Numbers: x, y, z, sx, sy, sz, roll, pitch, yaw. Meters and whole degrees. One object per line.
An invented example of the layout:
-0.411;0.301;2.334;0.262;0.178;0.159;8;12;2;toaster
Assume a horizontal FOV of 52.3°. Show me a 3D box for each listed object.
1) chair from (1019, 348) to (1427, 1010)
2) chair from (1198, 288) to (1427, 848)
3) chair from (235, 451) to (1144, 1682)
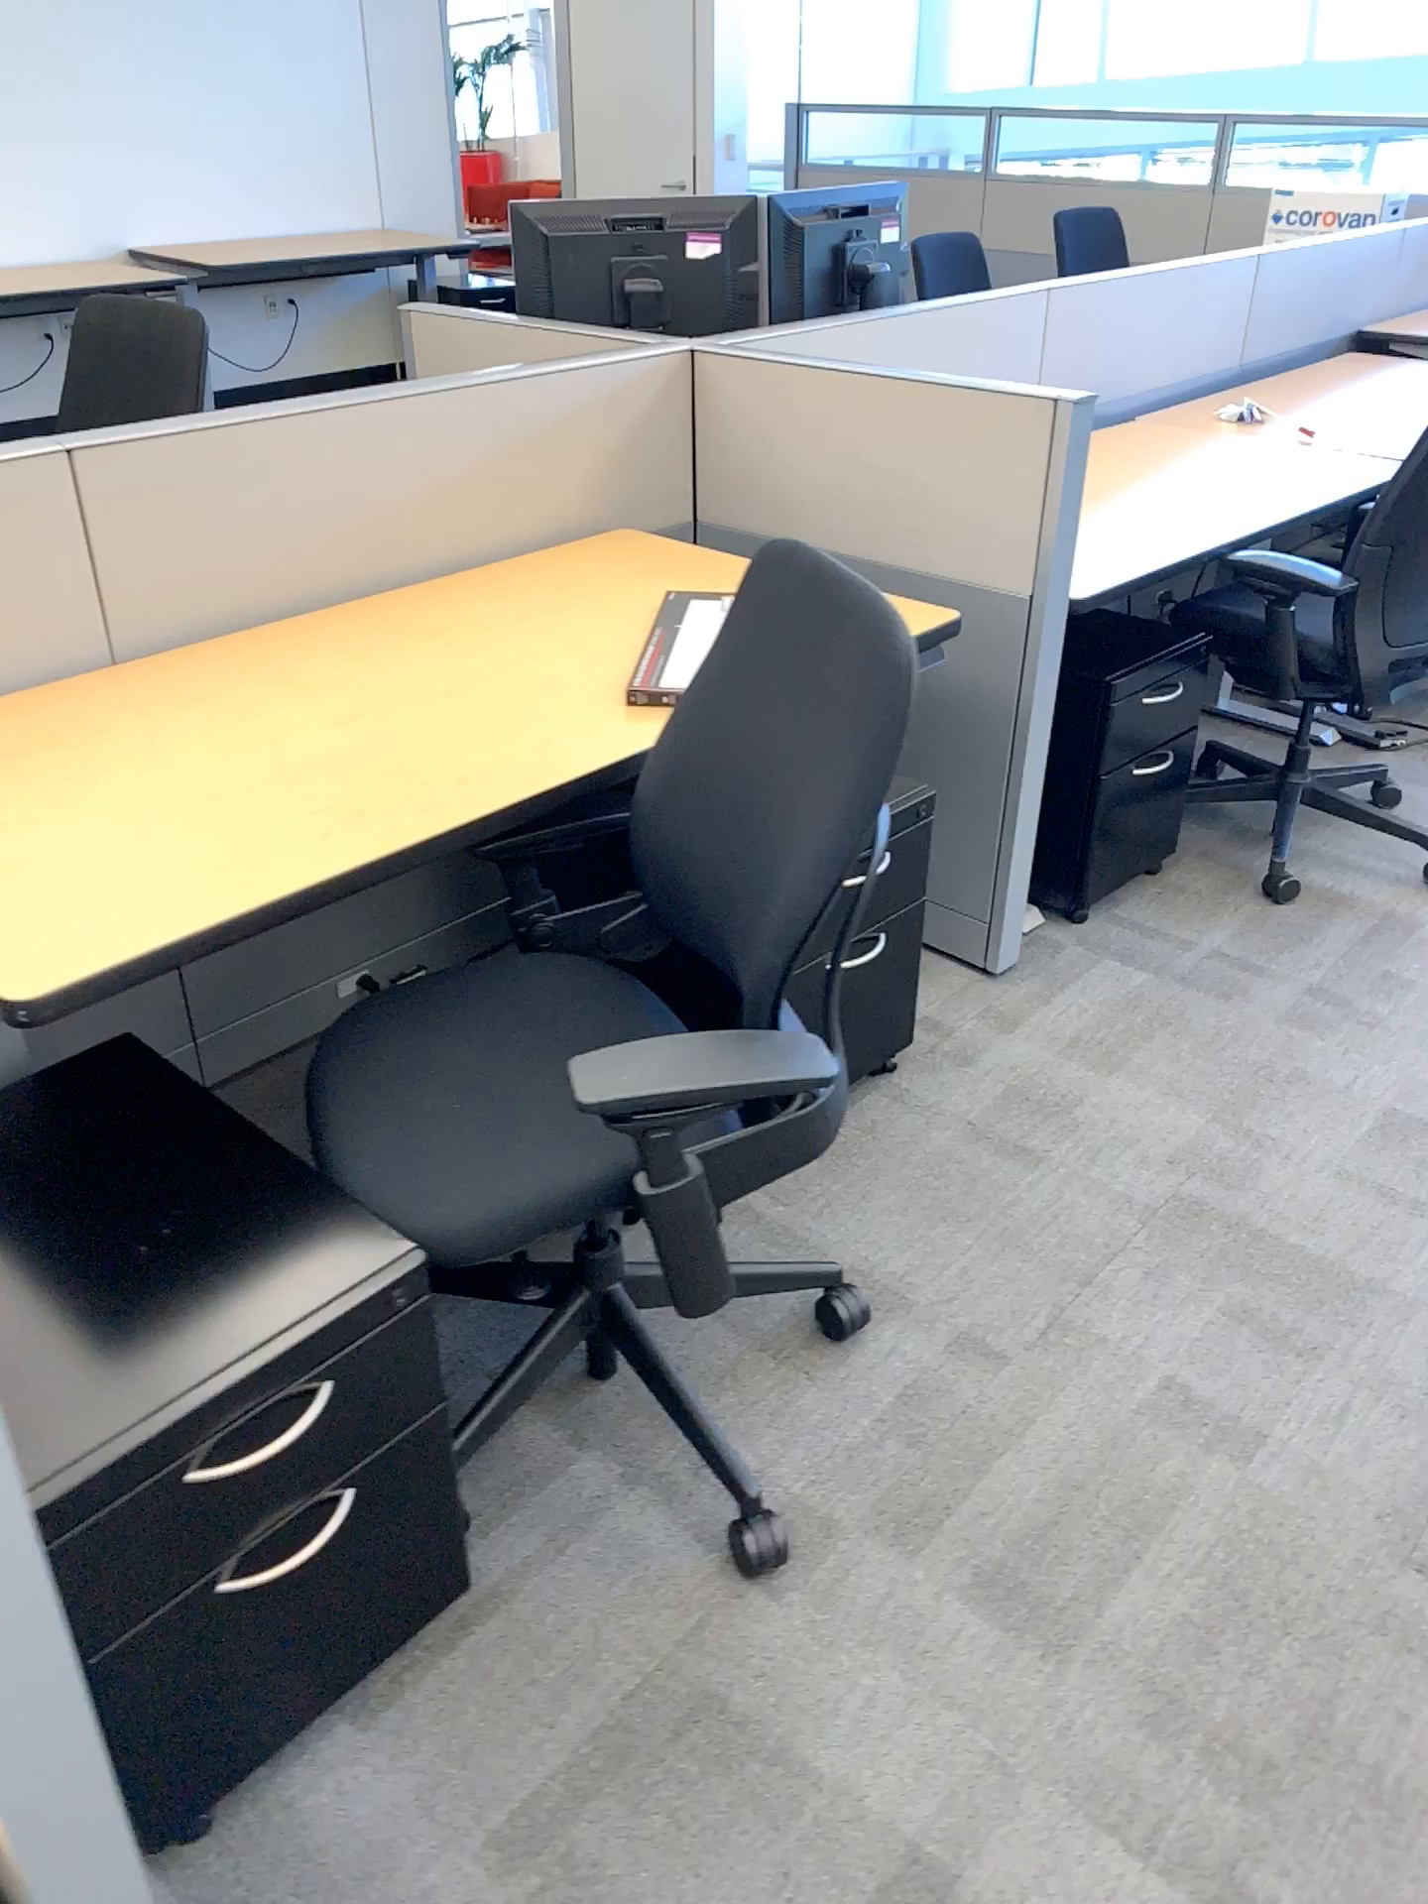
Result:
1.299;-0.658;3.308;0.751;1.183;0.763;-22;37;-33;chair
1.918;-1.028;3.794;0.750;1.183;0.764;-13;33;-21;chair
-0.089;0.077;1.698;0.680;1.083;0.754;-10;32;-17;chair
